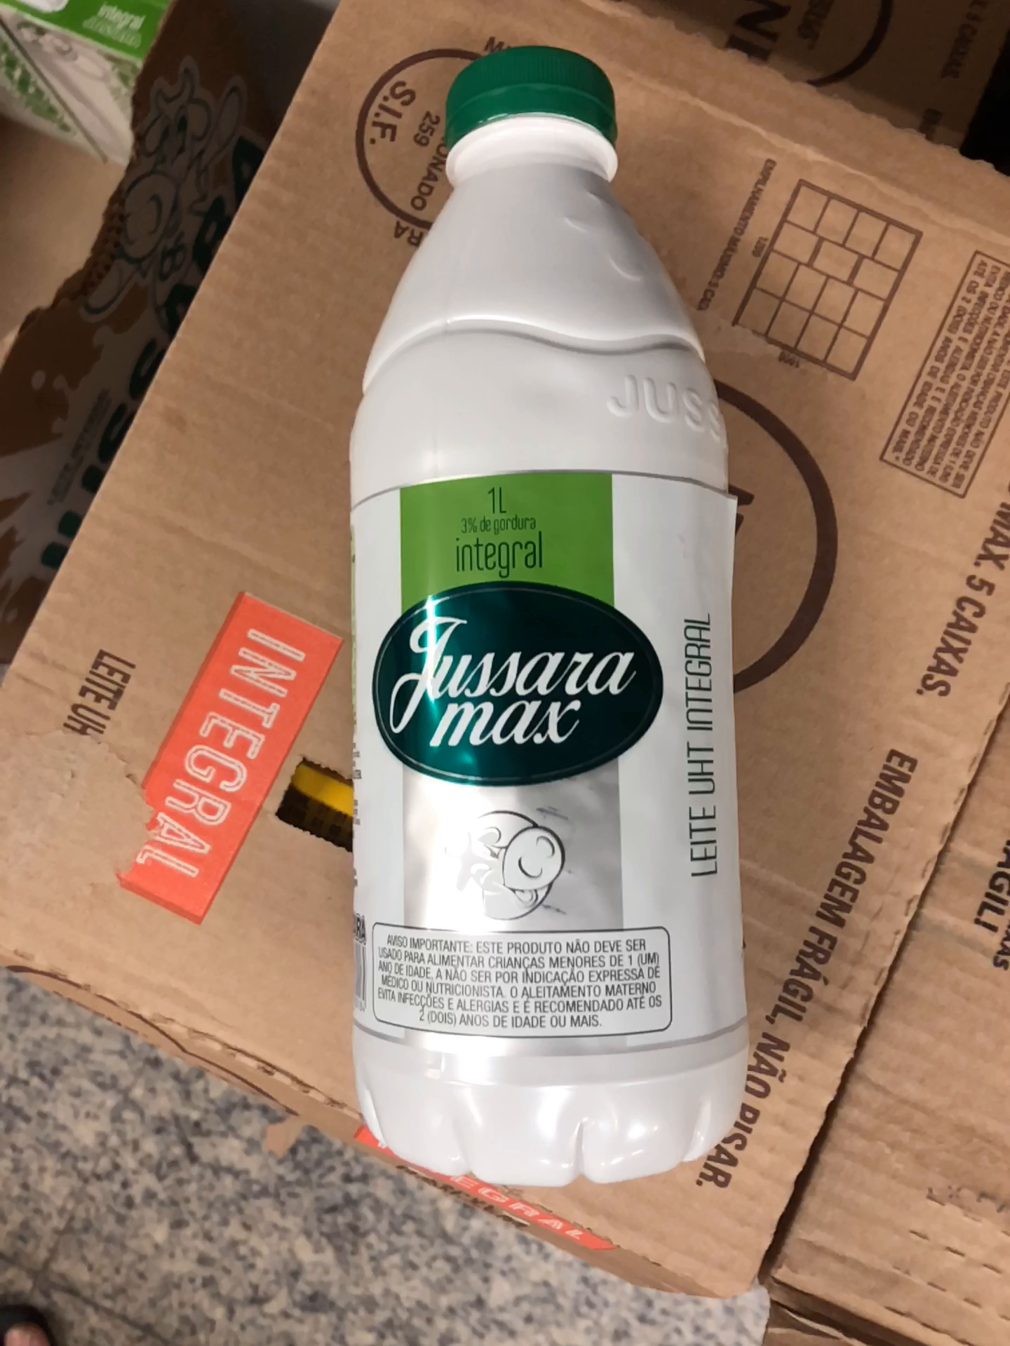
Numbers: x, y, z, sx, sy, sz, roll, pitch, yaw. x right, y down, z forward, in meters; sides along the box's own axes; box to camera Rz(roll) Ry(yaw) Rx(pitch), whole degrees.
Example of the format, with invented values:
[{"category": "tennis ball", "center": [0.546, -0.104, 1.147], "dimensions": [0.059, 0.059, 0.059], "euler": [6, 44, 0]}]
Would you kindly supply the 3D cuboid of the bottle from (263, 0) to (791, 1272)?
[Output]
[{"category": "bottle", "center": [0.005, -0.014, 0.228], "dimensions": [0.090, 0.060, 0.240], "euler": [-1, 91, 2]}]
